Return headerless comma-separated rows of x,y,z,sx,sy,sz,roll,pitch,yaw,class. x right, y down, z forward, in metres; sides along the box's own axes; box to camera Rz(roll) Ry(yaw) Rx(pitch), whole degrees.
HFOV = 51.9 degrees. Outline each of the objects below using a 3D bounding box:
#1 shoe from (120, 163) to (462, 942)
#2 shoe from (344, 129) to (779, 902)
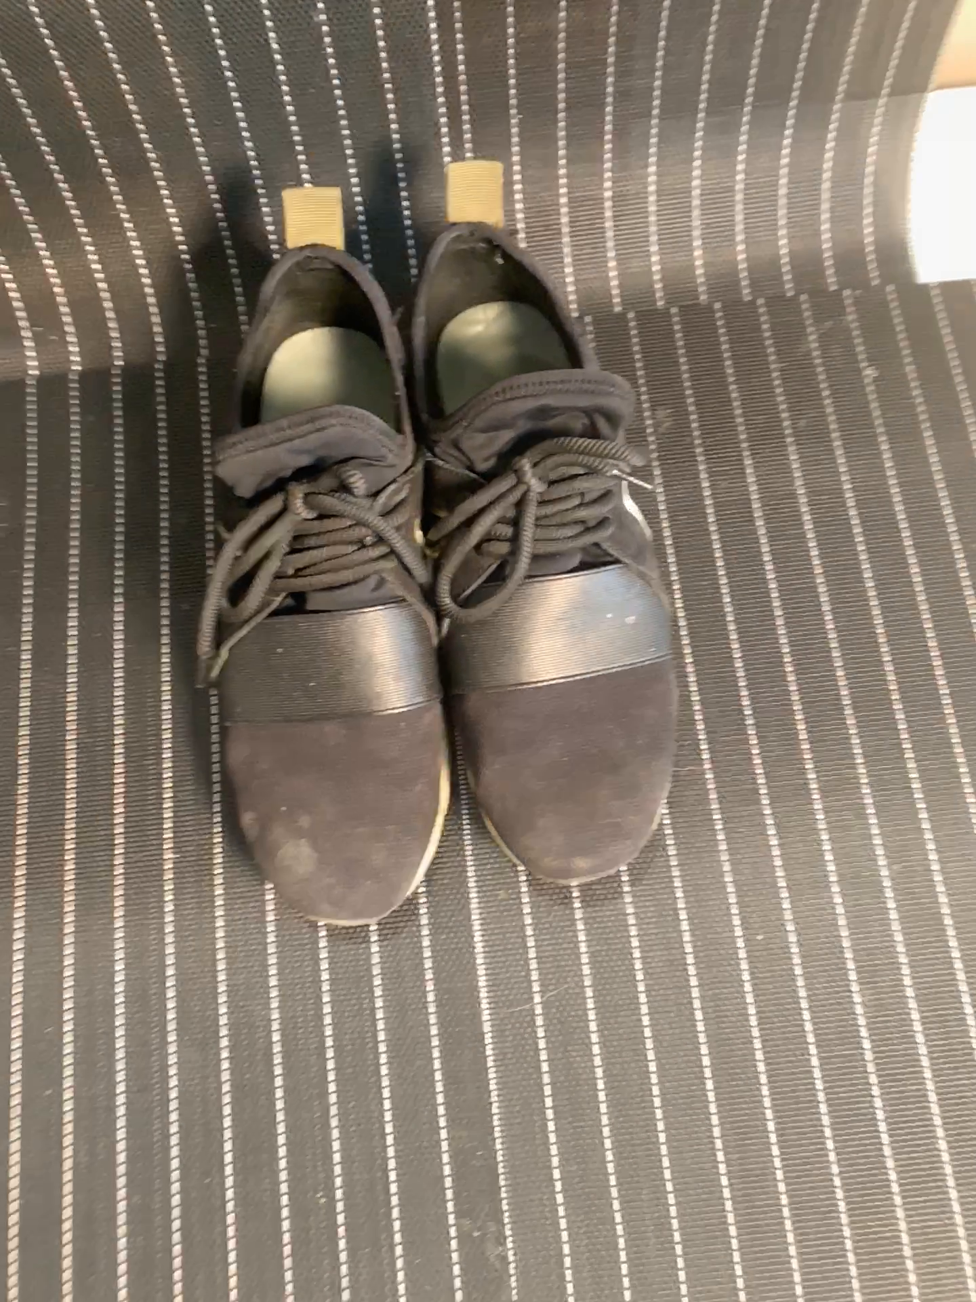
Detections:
-0.071,-0.038,0.384,0.100,0.080,0.280,-5,73,1,shoe
0.019,-0.053,0.400,0.100,0.090,0.280,-11,73,-1,shoe
